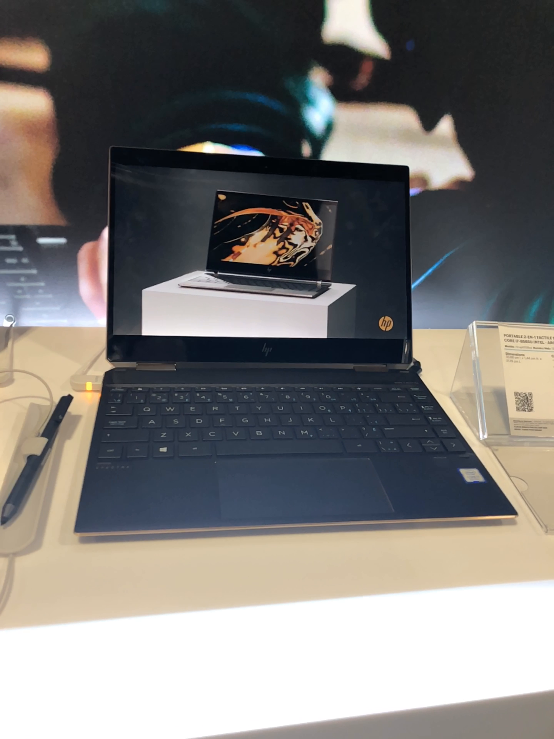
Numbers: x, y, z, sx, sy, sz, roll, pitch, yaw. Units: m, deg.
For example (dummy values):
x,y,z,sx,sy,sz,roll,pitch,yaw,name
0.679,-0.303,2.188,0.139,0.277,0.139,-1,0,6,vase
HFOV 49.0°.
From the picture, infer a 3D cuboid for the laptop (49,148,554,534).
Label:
x,y,z,sx,sy,sz,roll,pitch,yaw,name
0.007,-0.058,0.514,0.305,0.172,0.347,0,29,-10,laptop
